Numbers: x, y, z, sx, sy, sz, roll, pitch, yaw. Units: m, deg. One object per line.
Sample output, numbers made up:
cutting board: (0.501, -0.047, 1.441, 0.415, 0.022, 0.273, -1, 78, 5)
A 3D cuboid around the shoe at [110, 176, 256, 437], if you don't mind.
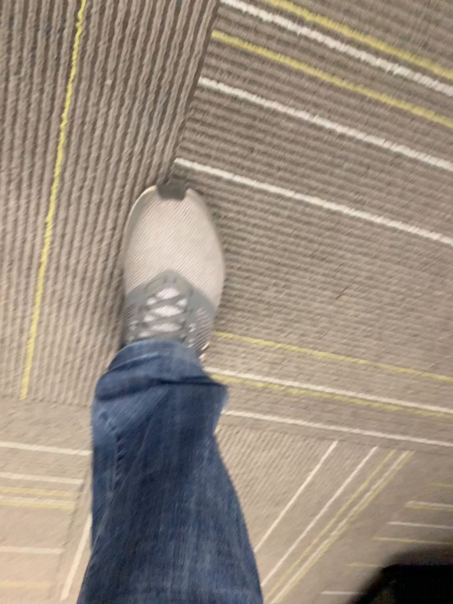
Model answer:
shoe: (-0.057, 0.021, 0.538, 0.128, 0.092, 0.301, 1, 127, -9)
